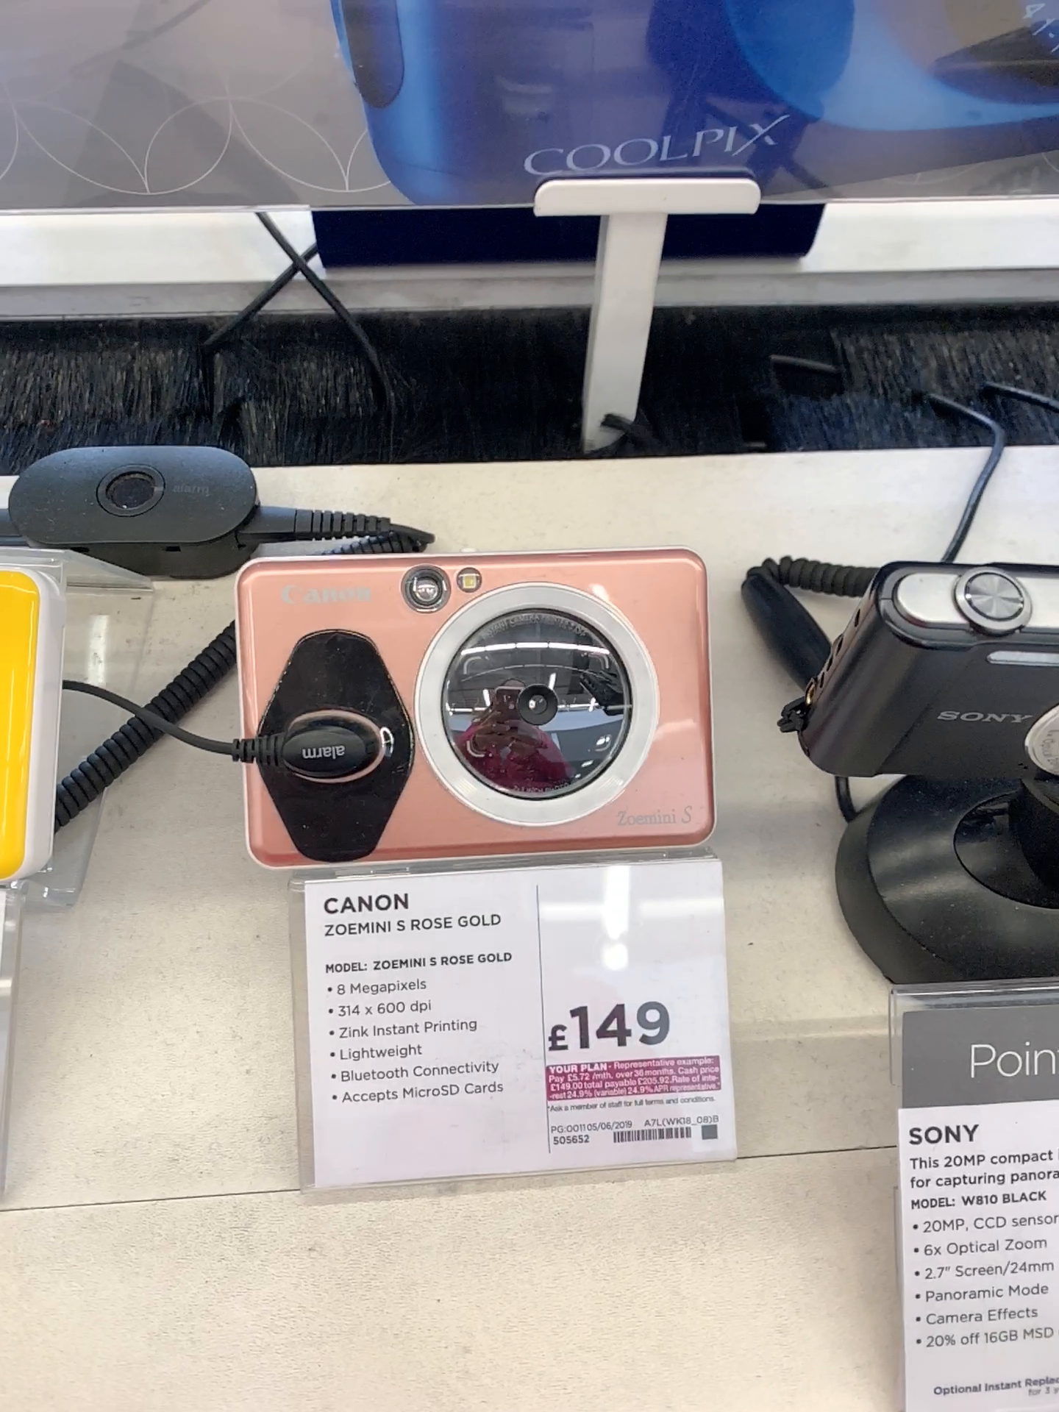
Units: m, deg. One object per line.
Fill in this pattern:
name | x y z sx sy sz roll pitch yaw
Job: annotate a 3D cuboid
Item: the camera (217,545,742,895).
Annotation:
camera | -0.012 0.003 0.285 0.129 0.020 0.083 -2 92 -4
